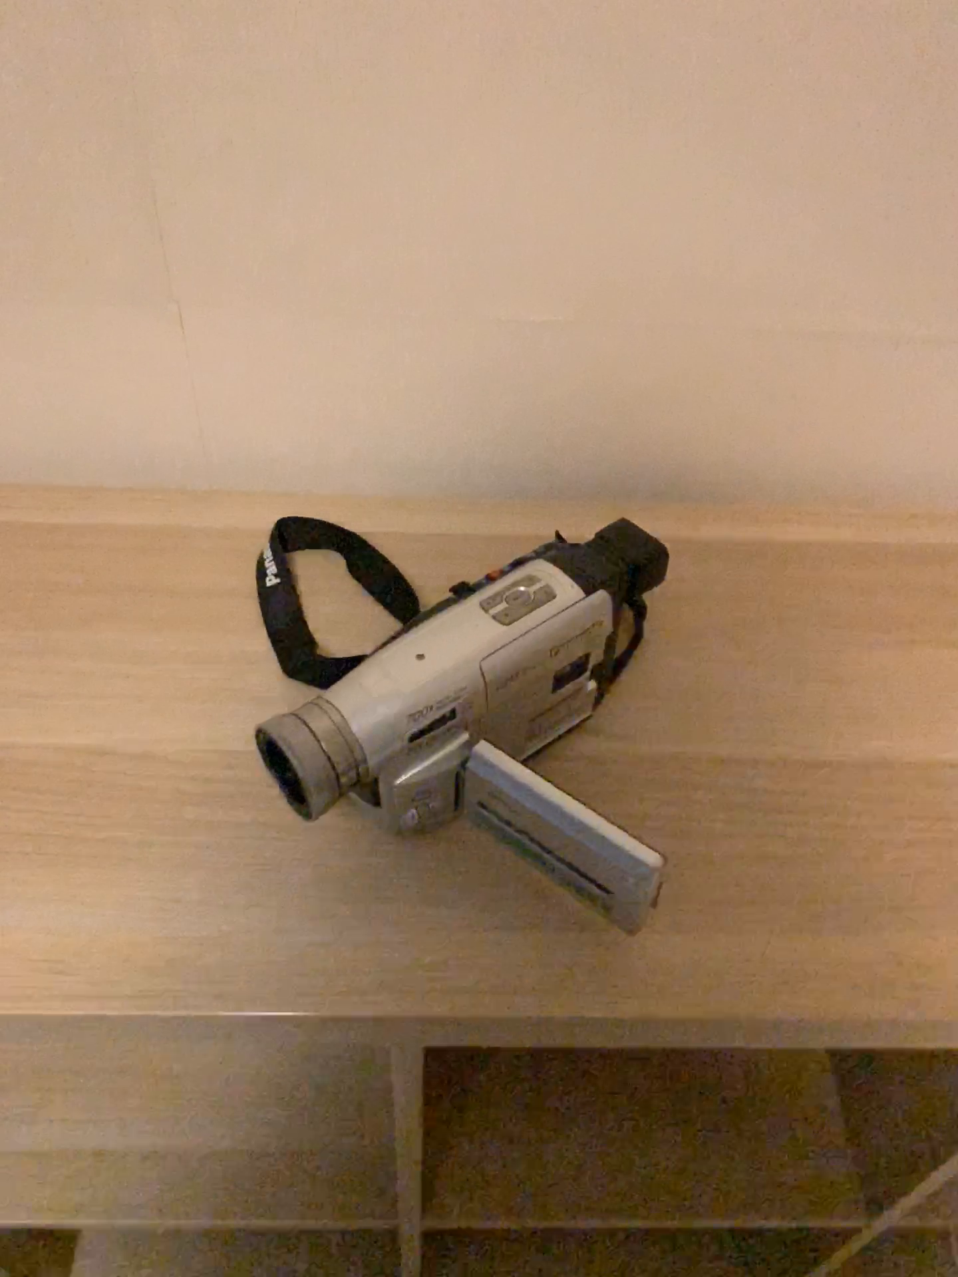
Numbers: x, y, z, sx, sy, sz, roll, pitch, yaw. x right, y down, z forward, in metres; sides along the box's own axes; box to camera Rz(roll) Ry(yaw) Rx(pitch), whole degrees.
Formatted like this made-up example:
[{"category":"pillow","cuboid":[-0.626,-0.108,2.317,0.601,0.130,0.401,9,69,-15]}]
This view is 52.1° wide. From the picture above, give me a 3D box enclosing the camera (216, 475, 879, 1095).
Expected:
[{"category":"camera","cuboid":[0.033,0.051,0.505,0.247,0.109,0.203,-30,54,-30]}]
